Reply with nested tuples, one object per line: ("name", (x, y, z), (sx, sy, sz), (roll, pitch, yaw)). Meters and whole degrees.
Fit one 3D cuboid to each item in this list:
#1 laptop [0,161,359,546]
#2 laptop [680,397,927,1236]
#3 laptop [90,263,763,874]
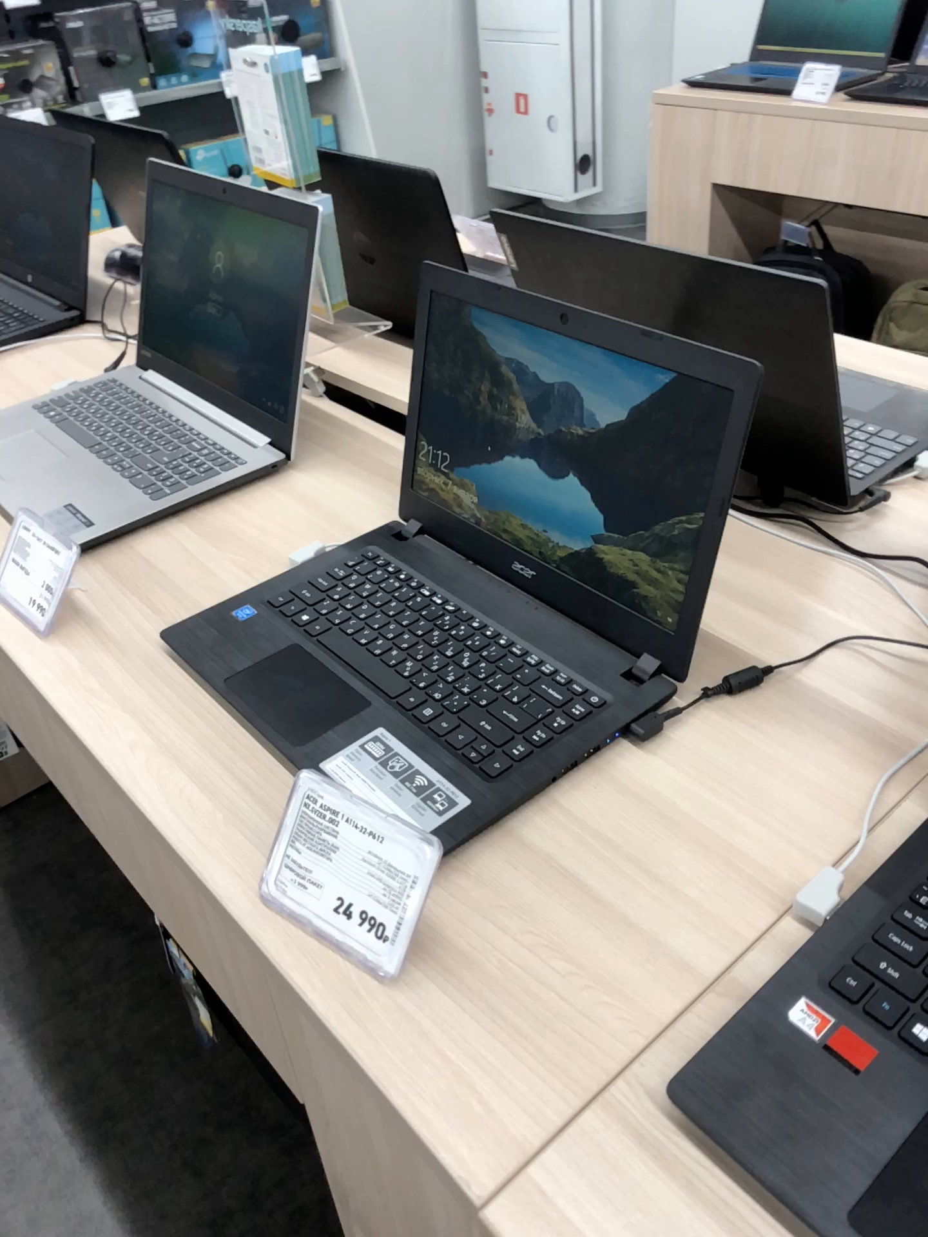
("laptop", (-0.376, -0.306, 1.087), (0.338, 0.236, 0.363), (-28, 41, -27))
("laptop", (0.355, 0.131, 0.384), (0.376, 0.216, 0.380), (-30, 42, -29))
("laptop", (-0.030, -0.073, 0.737), (0.302, 0.223, 0.343), (-29, 41, -29))
